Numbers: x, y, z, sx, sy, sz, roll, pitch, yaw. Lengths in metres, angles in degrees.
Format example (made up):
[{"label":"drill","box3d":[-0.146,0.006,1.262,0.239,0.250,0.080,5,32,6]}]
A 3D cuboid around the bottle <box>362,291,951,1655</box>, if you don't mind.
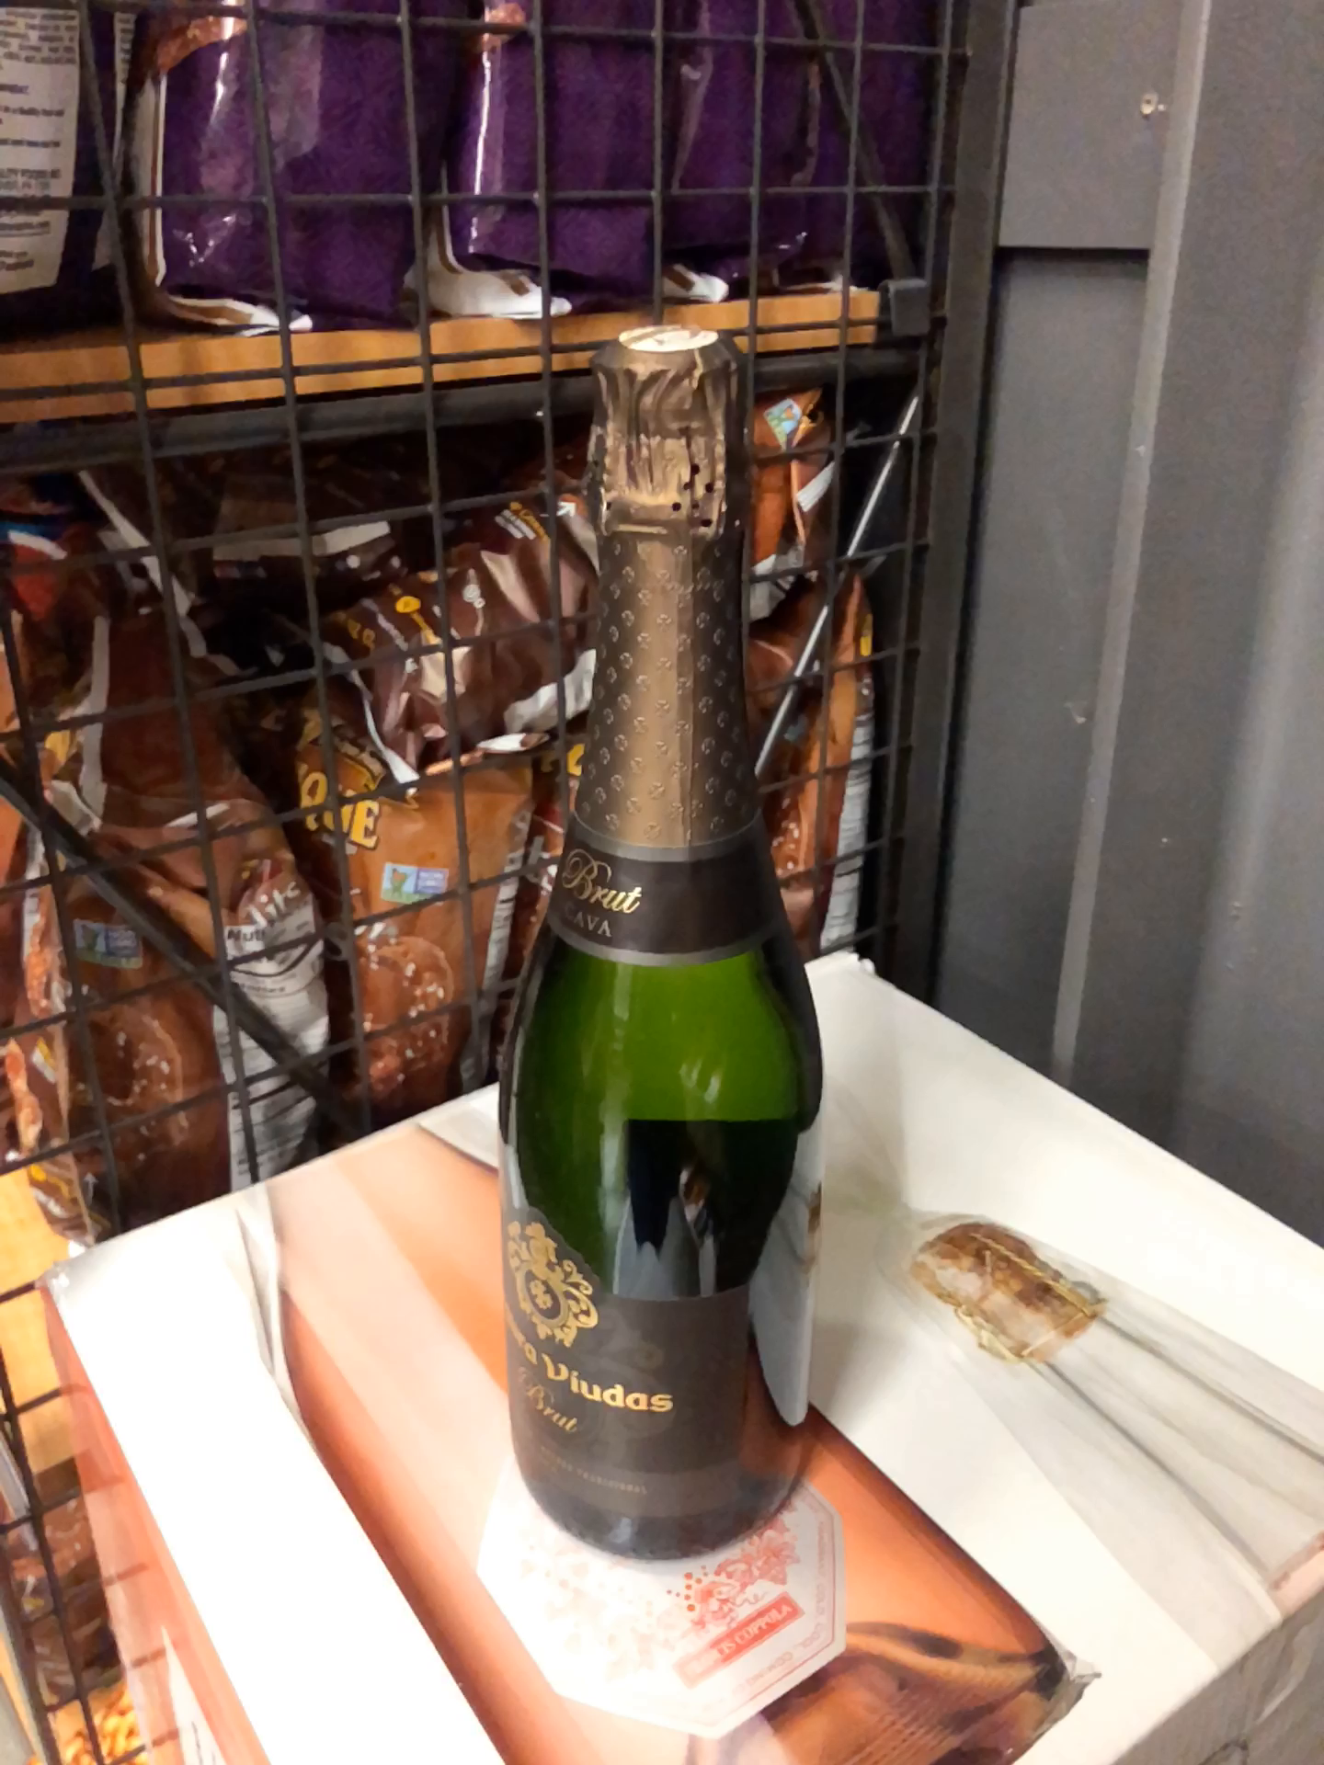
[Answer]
[{"label":"bottle","box3d":[-0.001,0.028,0.372,0.084,0.326,0.090,0,24,0]}]
